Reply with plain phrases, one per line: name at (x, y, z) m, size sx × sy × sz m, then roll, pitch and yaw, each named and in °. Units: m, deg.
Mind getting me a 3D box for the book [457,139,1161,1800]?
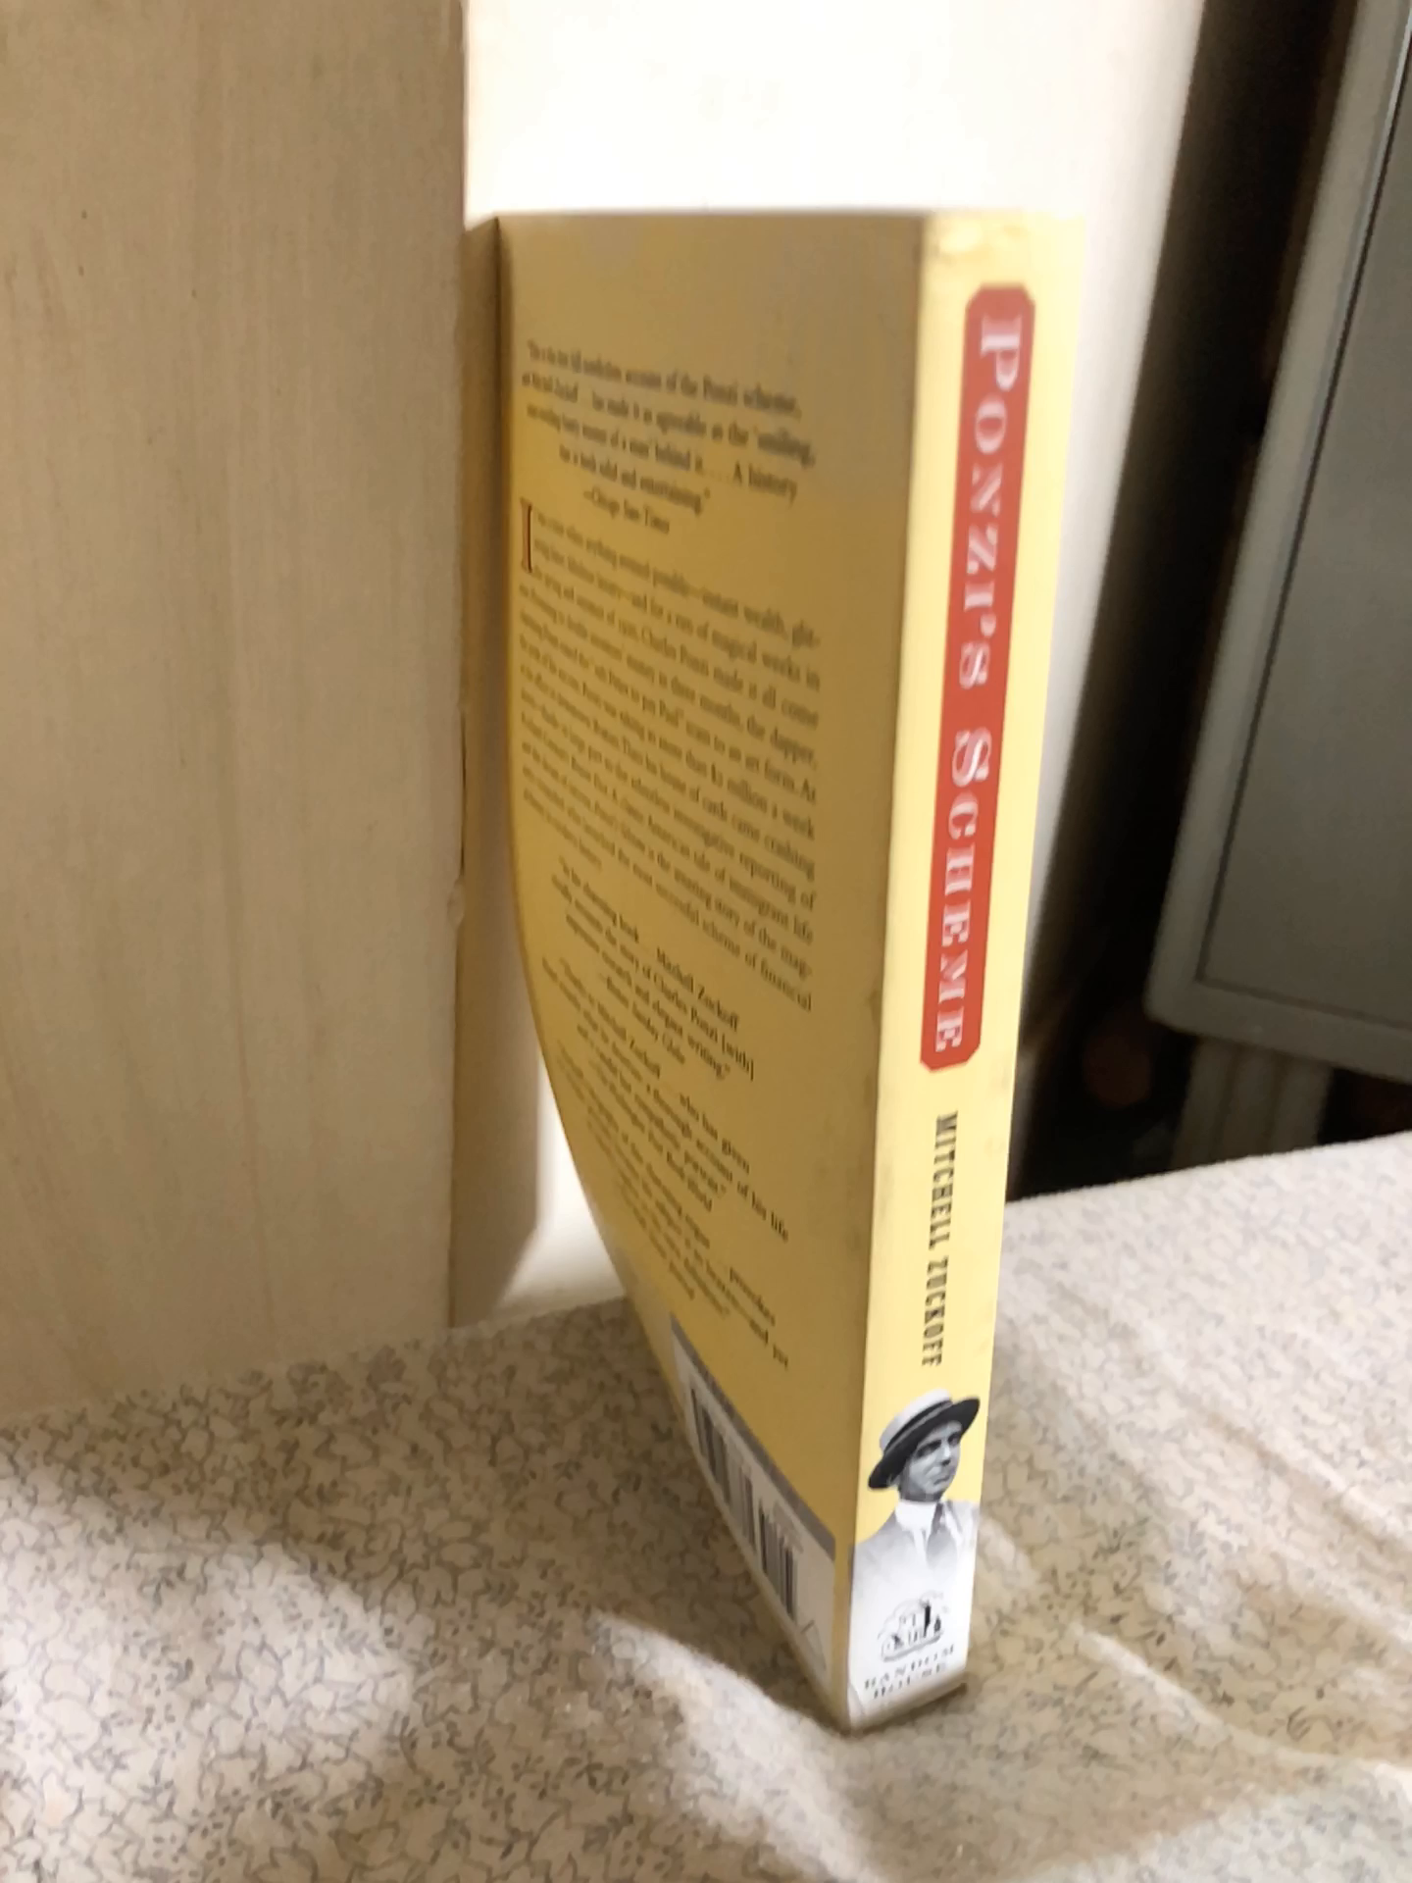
book at (0.001, -0.005, 0.246) m, size 0.040 × 0.209 × 0.140 m, roll -8°, pitch 26°, yaw -17°
